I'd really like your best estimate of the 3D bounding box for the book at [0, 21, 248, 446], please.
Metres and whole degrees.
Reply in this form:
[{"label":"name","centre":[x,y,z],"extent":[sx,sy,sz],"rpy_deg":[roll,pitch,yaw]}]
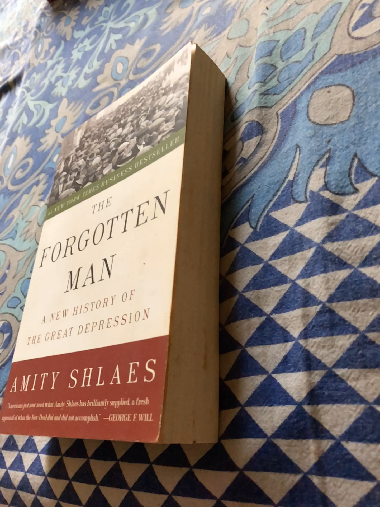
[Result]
[{"label":"book","centre":[-0.044,-0.003,0.238],"extent":[0.141,0.050,0.200],"rpy_deg":[-19,58,37]}]
